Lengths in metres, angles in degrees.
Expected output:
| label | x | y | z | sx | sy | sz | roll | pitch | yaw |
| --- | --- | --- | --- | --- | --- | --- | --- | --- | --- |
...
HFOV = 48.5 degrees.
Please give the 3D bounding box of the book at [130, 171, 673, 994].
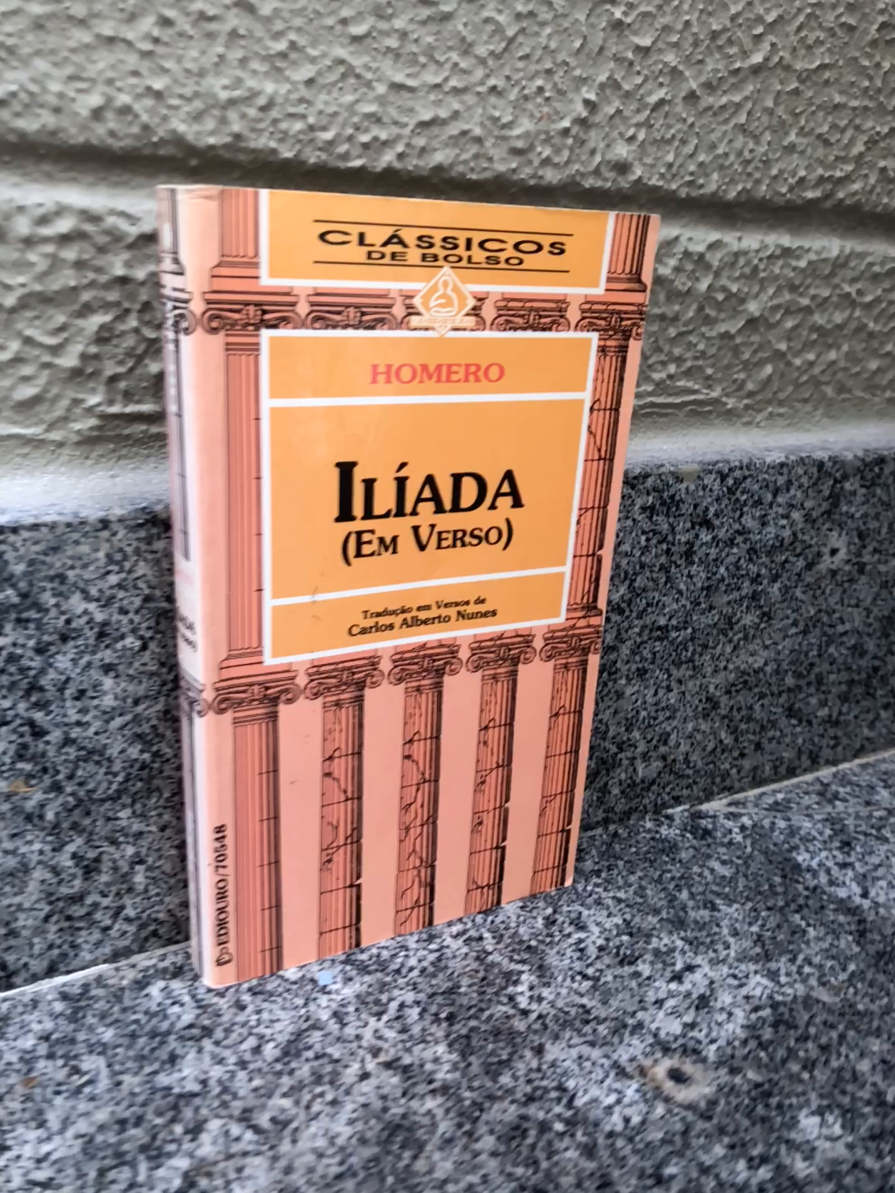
| label | x | y | z | sx | sy | sz | roll | pitch | yaw |
| --- | --- | --- | --- | --- | --- | --- | --- | --- | --- |
| book | -0.013 | -0.001 | 0.292 | 0.139 | 0.219 | 0.030 | -7 | 23 | -27 |
